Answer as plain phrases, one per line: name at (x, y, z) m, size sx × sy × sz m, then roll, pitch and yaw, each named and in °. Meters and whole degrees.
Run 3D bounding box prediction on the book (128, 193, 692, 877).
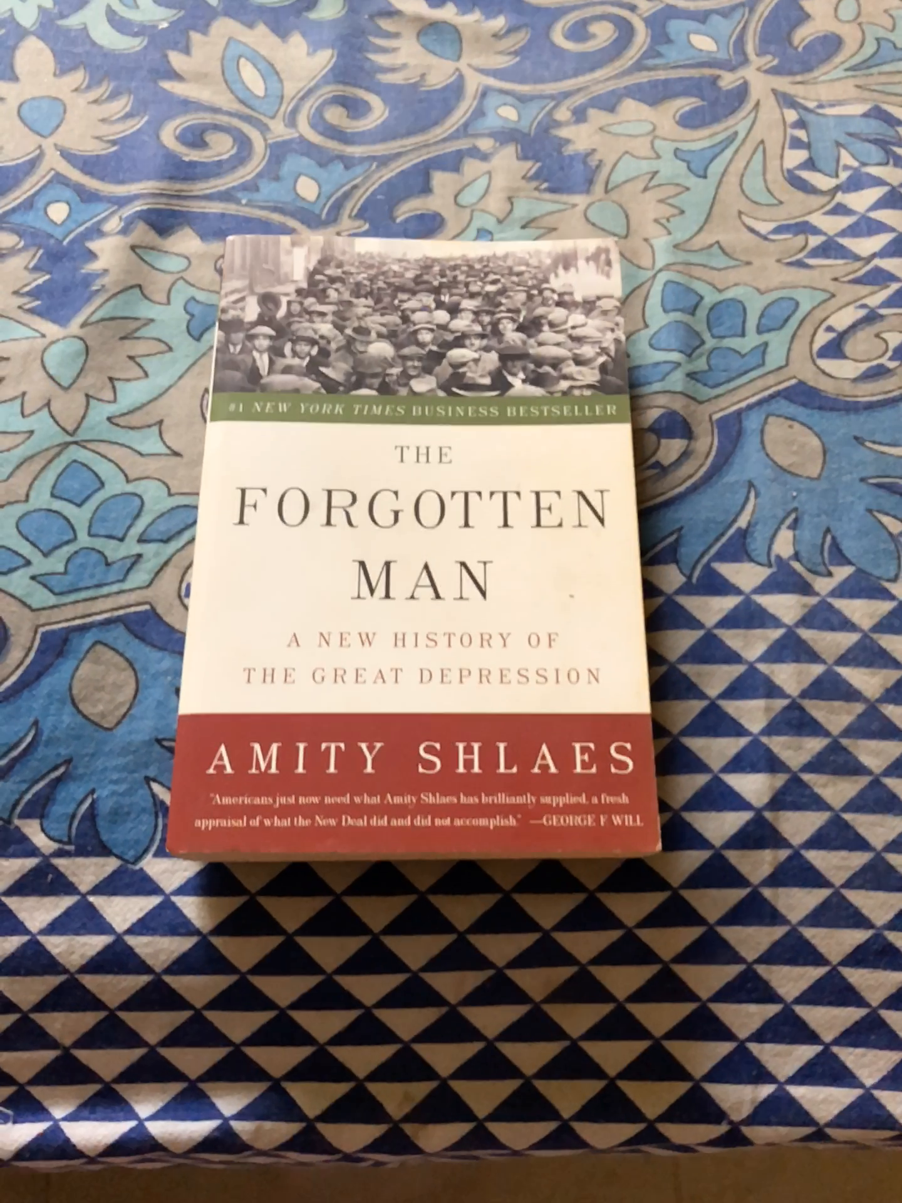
book at (-0.013, -0.024, 0.305) m, size 0.140 × 0.050 × 0.200 m, roll -1°, pitch 72°, yaw -3°
